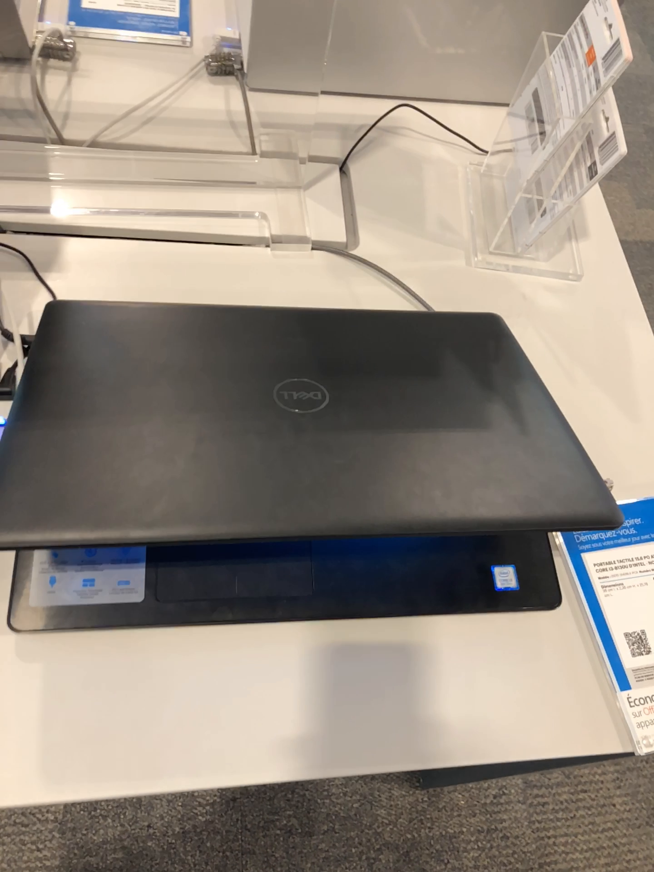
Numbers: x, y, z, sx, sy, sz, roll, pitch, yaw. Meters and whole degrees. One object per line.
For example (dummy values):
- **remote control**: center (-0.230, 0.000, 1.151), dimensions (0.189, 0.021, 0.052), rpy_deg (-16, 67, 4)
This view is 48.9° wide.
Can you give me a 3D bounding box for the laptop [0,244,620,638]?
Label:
- **laptop**: center (-0.011, -0.002, 0.499), dimensions (0.365, 0.080, 0.245), rpy_deg (1, 62, -11)
